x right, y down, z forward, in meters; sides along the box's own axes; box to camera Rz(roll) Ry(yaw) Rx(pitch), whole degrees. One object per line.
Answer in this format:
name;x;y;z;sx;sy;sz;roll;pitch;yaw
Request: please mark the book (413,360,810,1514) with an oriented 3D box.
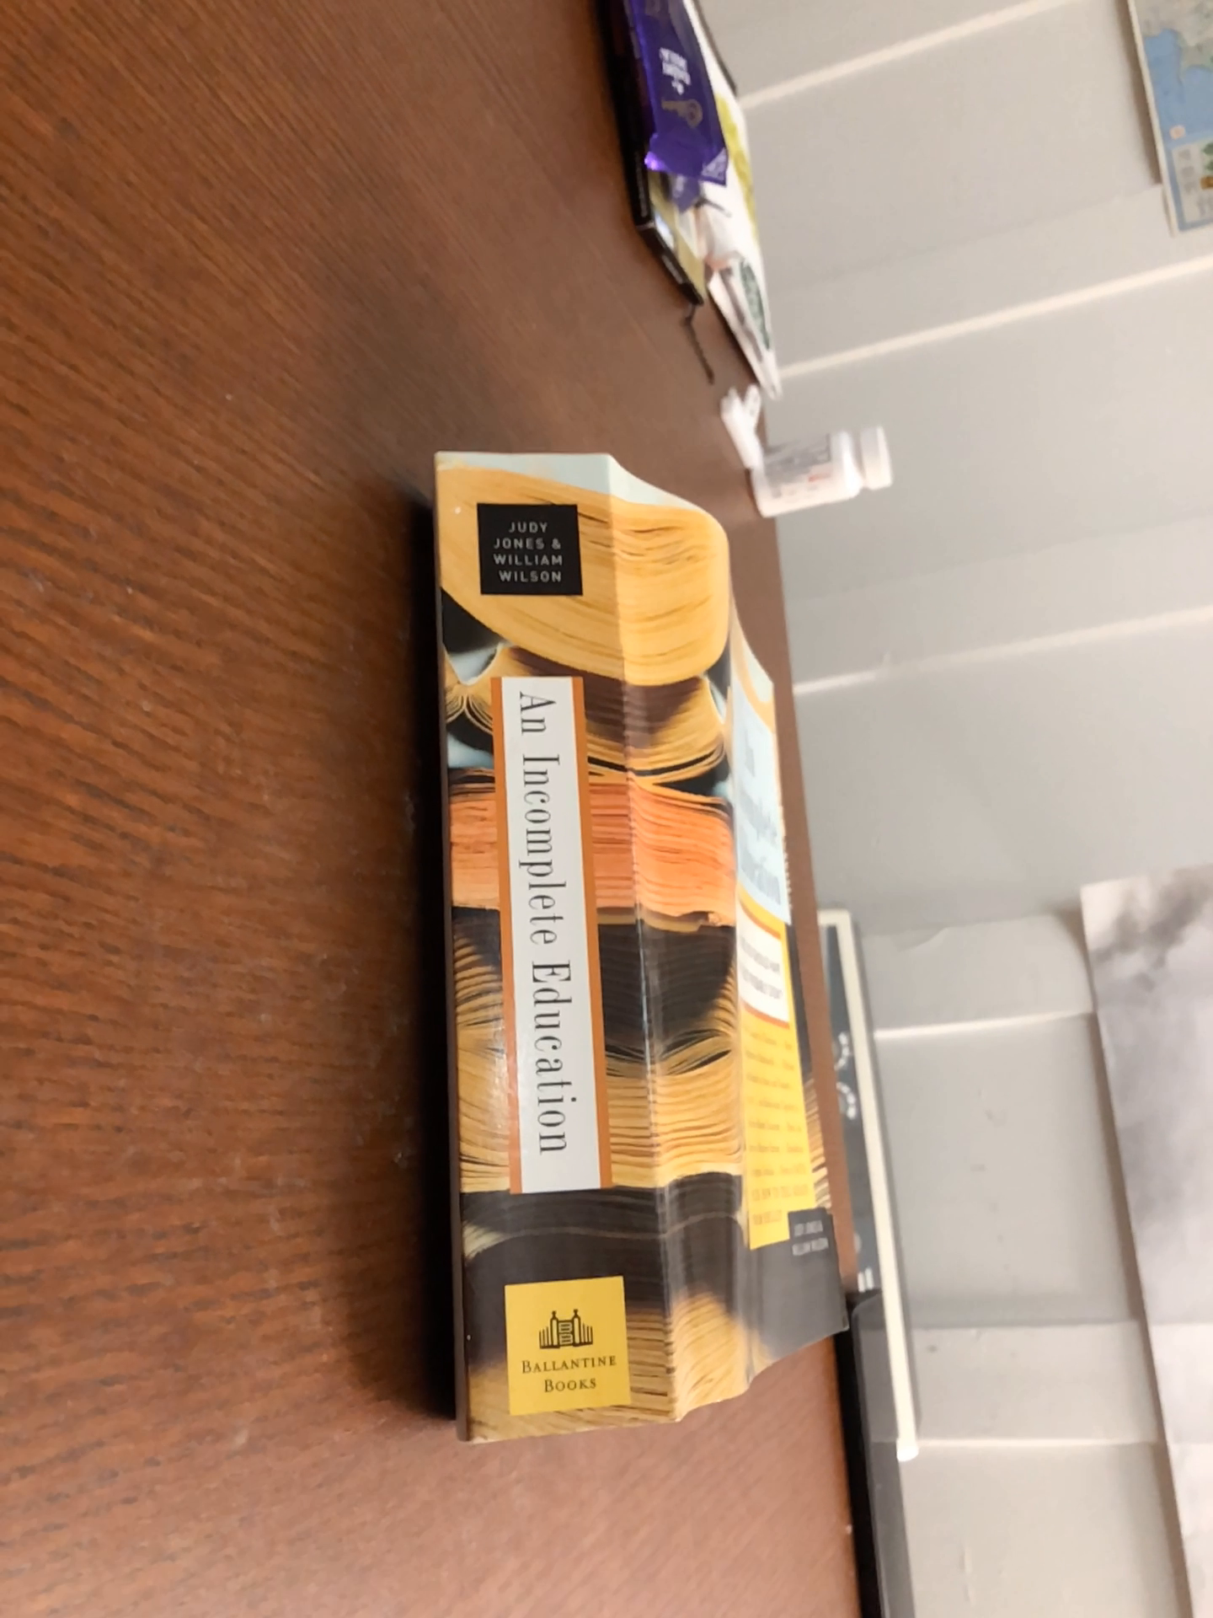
book;0.011;0.041;0.395;0.210;0.060;0.250;50;35;-72
